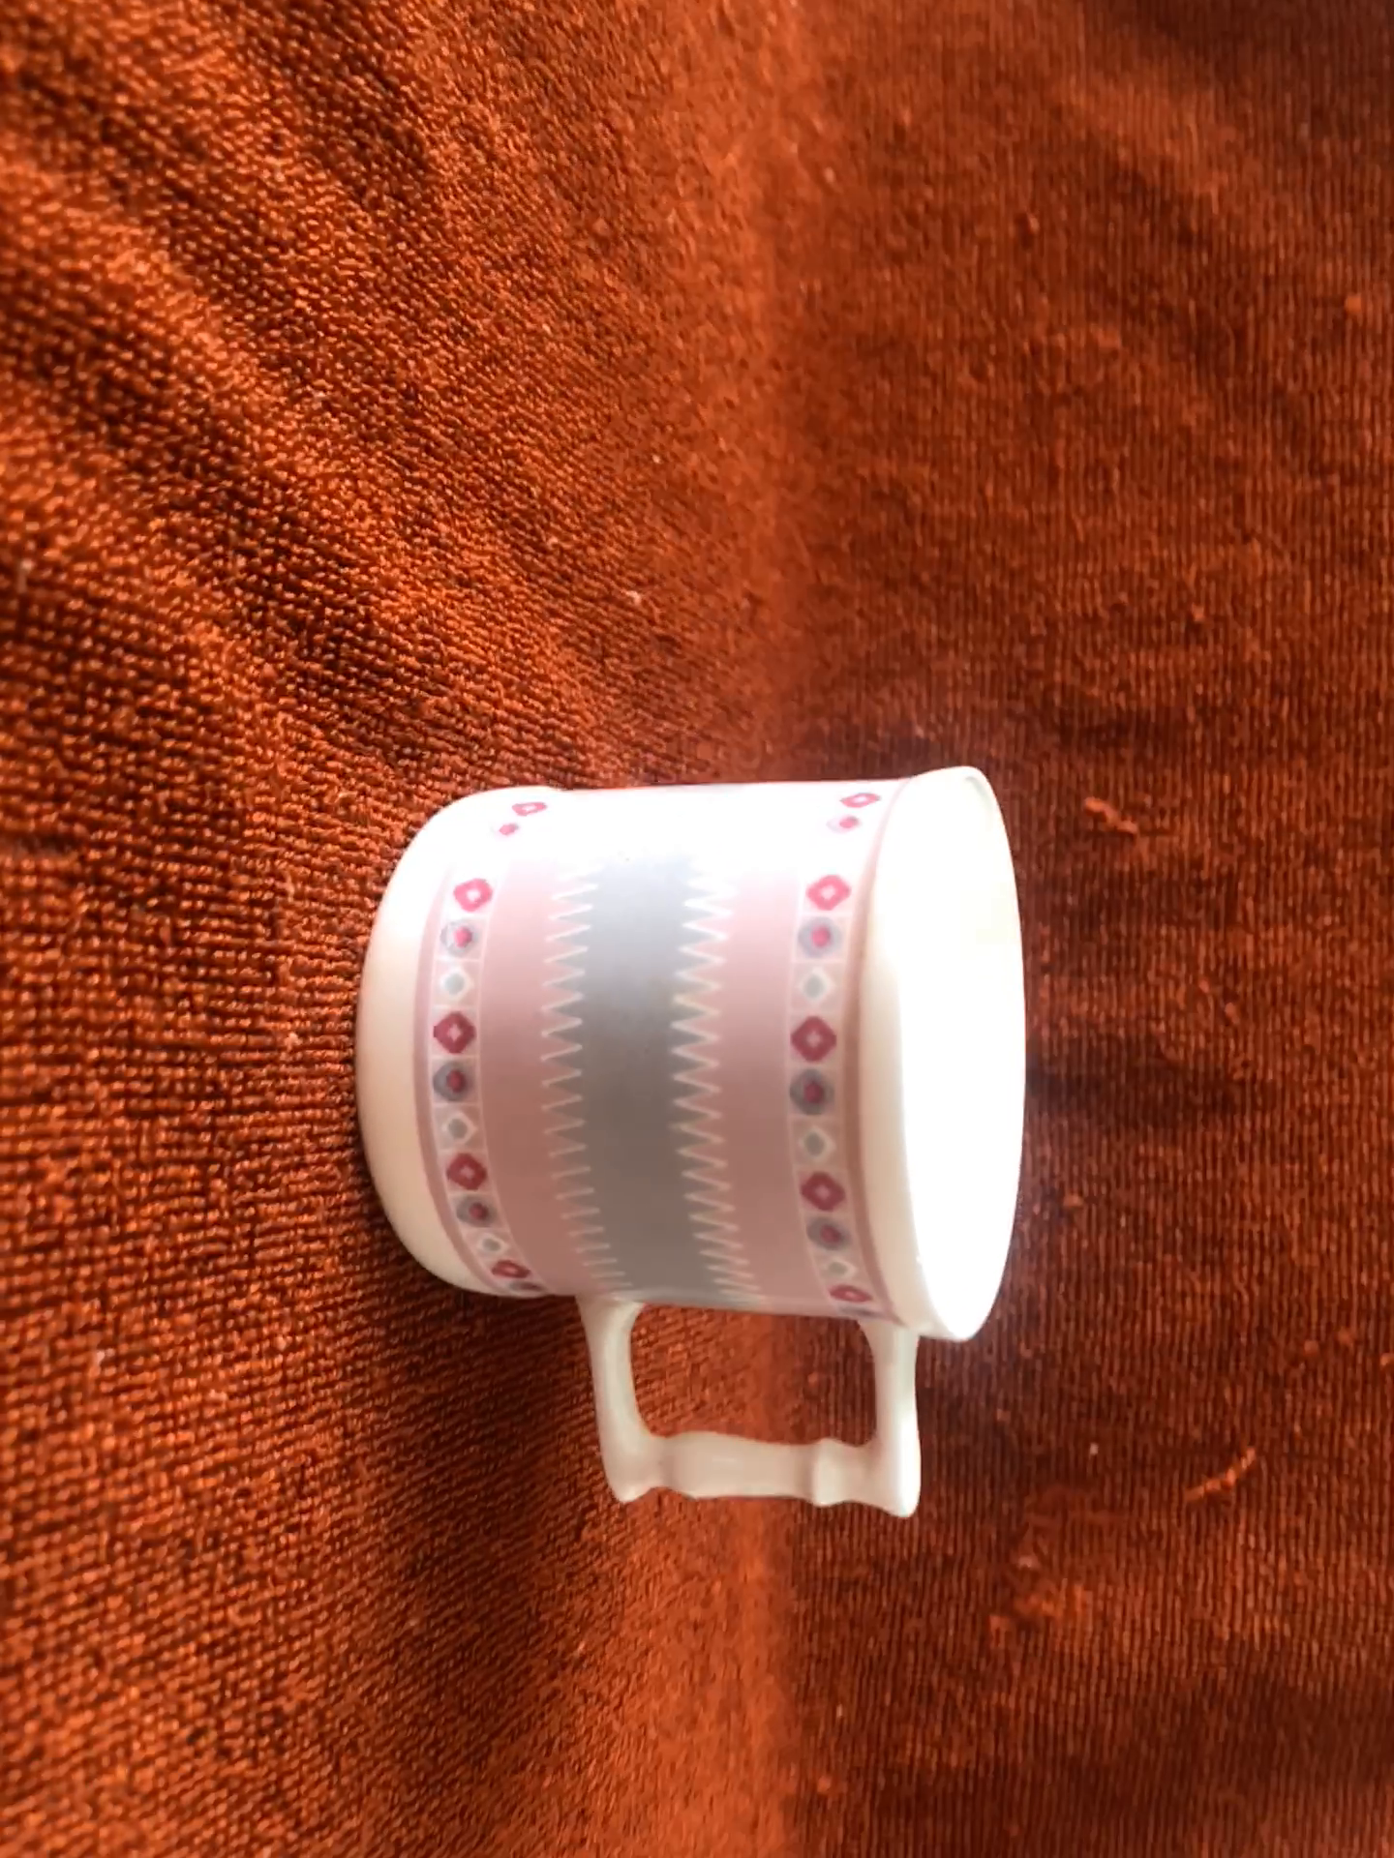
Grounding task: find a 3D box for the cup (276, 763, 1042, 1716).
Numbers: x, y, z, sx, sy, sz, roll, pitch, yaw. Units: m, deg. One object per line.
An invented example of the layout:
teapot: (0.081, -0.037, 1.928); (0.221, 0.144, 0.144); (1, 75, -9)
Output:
cup: (0.001, 0.027, 0.186); (0.060, 0.070, 0.090); (-21, 111, -68)
